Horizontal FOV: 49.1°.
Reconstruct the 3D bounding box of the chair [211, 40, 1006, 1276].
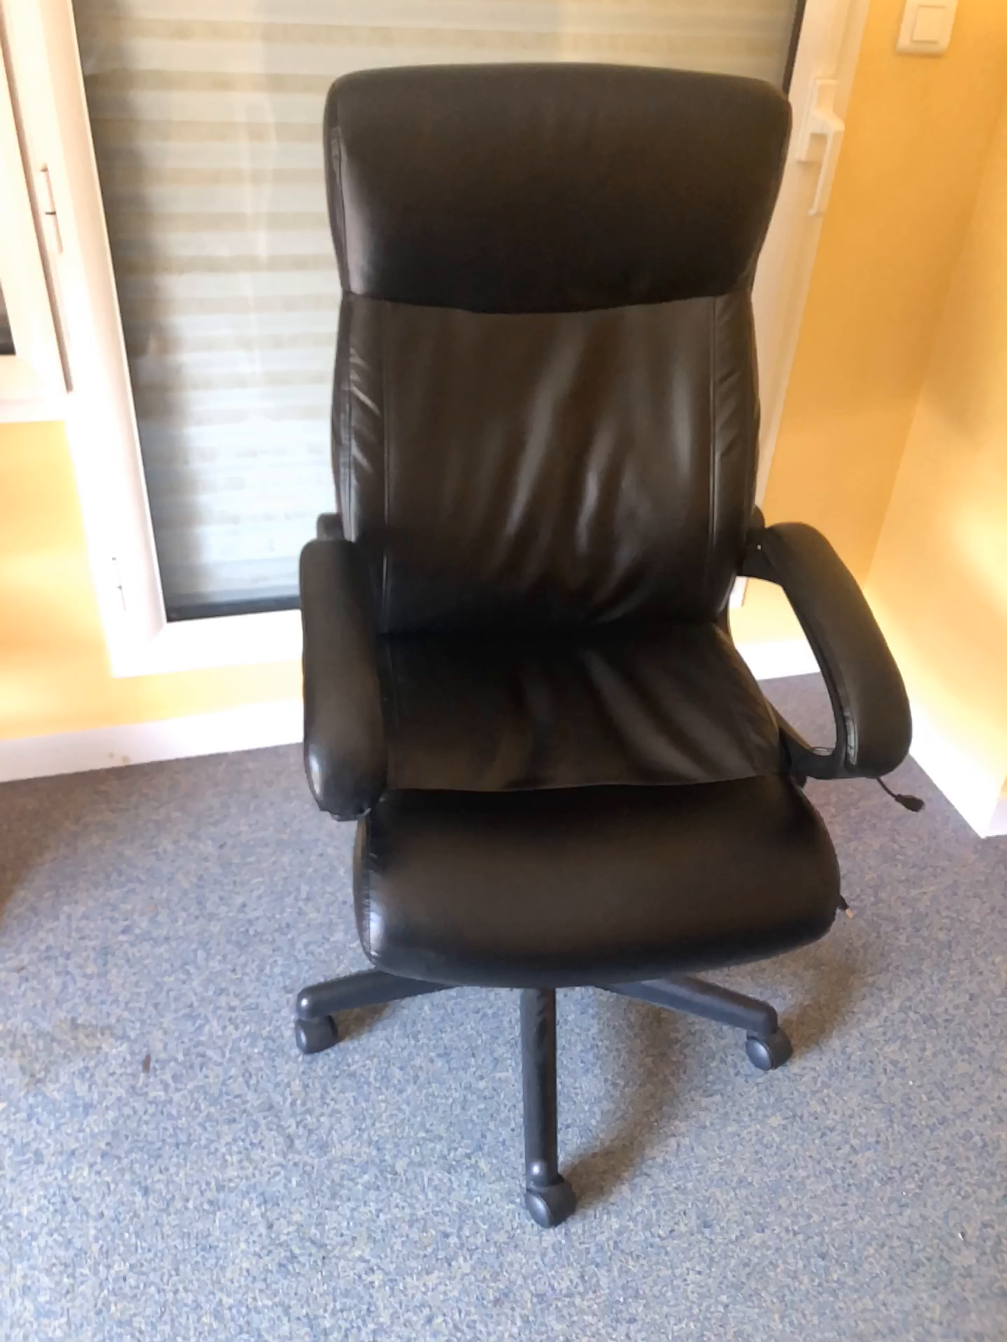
[{"bbox_3d":[0.063,-0.024,1.269,0.661,1.113,0.754,-5,37,-12],"label":"chair"}]
